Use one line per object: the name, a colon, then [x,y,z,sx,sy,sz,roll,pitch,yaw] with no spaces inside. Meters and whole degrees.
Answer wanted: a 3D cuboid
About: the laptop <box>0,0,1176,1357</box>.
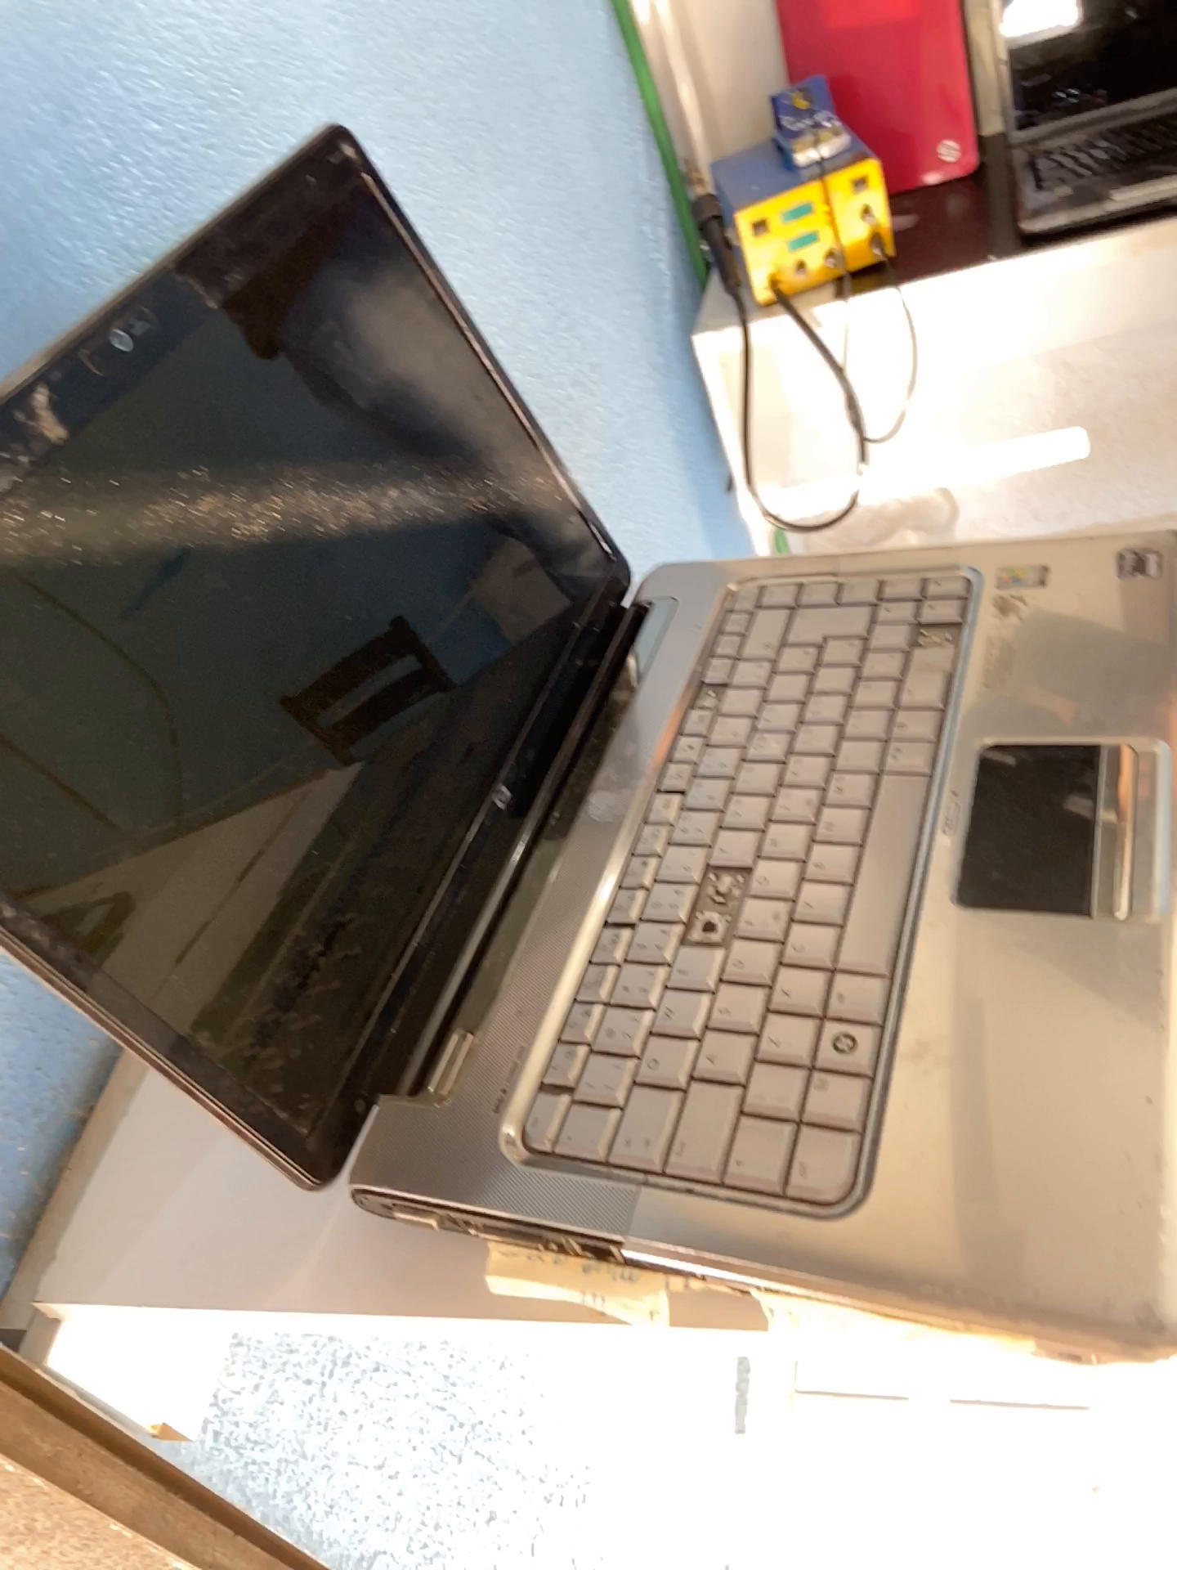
laptop: [0.013,-0.071,0.405,0.328,0.233,0.353,0,44,27]
